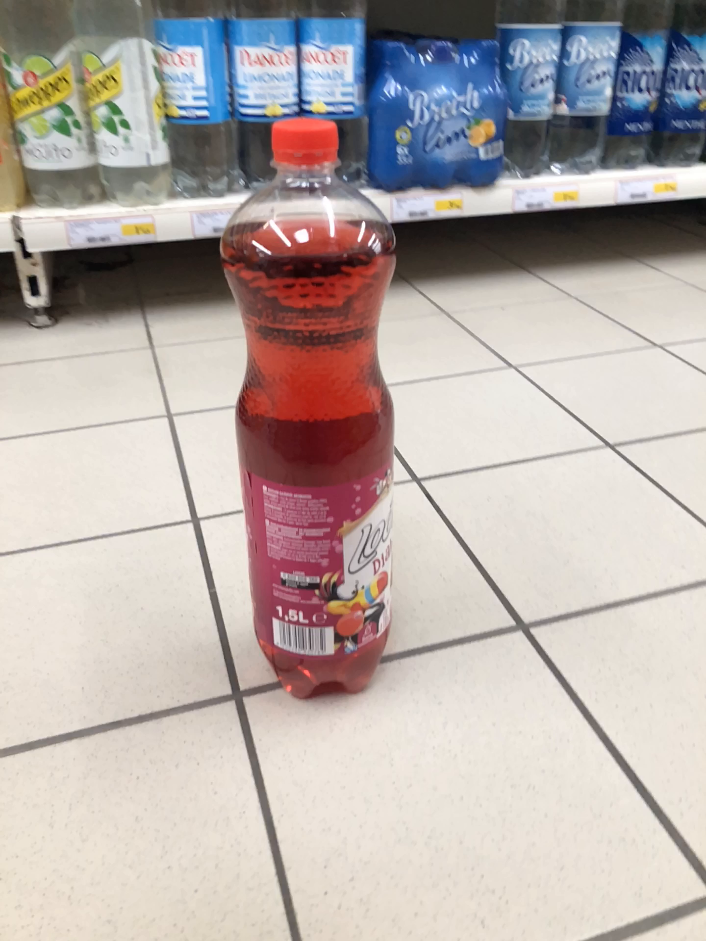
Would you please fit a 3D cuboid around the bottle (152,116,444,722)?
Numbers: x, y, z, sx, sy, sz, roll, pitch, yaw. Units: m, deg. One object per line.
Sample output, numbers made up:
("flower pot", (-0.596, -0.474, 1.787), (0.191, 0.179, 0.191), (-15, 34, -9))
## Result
("bottle", (-0.019, -0.021, 0.429), (0.100, 0.308, 0.101), (0, 30, 0))
